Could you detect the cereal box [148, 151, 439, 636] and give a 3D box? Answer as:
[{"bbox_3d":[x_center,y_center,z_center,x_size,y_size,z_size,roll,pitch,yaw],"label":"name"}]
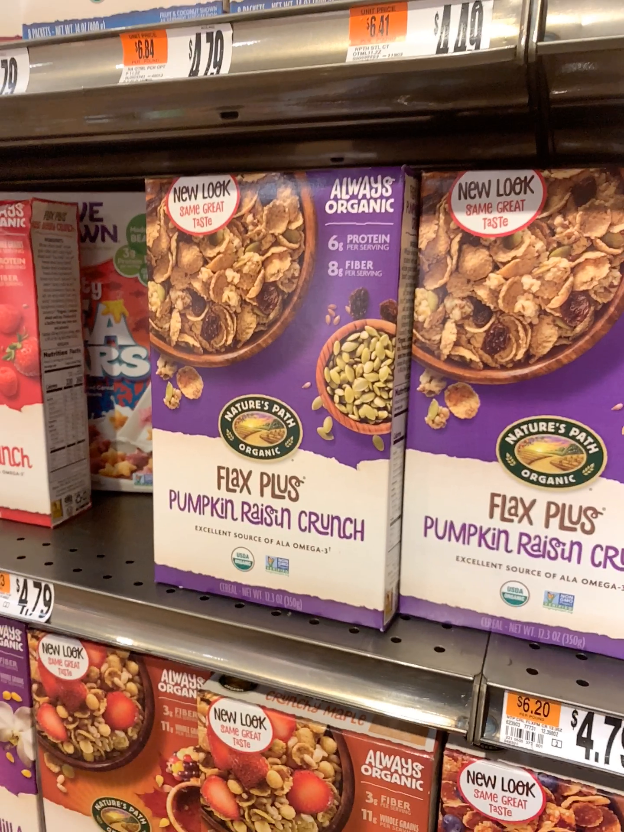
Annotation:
[{"bbox_3d":[-0.017,-0.016,0.409,0.170,0.269,0.050,6,10,22],"label":"cereal box"}]
